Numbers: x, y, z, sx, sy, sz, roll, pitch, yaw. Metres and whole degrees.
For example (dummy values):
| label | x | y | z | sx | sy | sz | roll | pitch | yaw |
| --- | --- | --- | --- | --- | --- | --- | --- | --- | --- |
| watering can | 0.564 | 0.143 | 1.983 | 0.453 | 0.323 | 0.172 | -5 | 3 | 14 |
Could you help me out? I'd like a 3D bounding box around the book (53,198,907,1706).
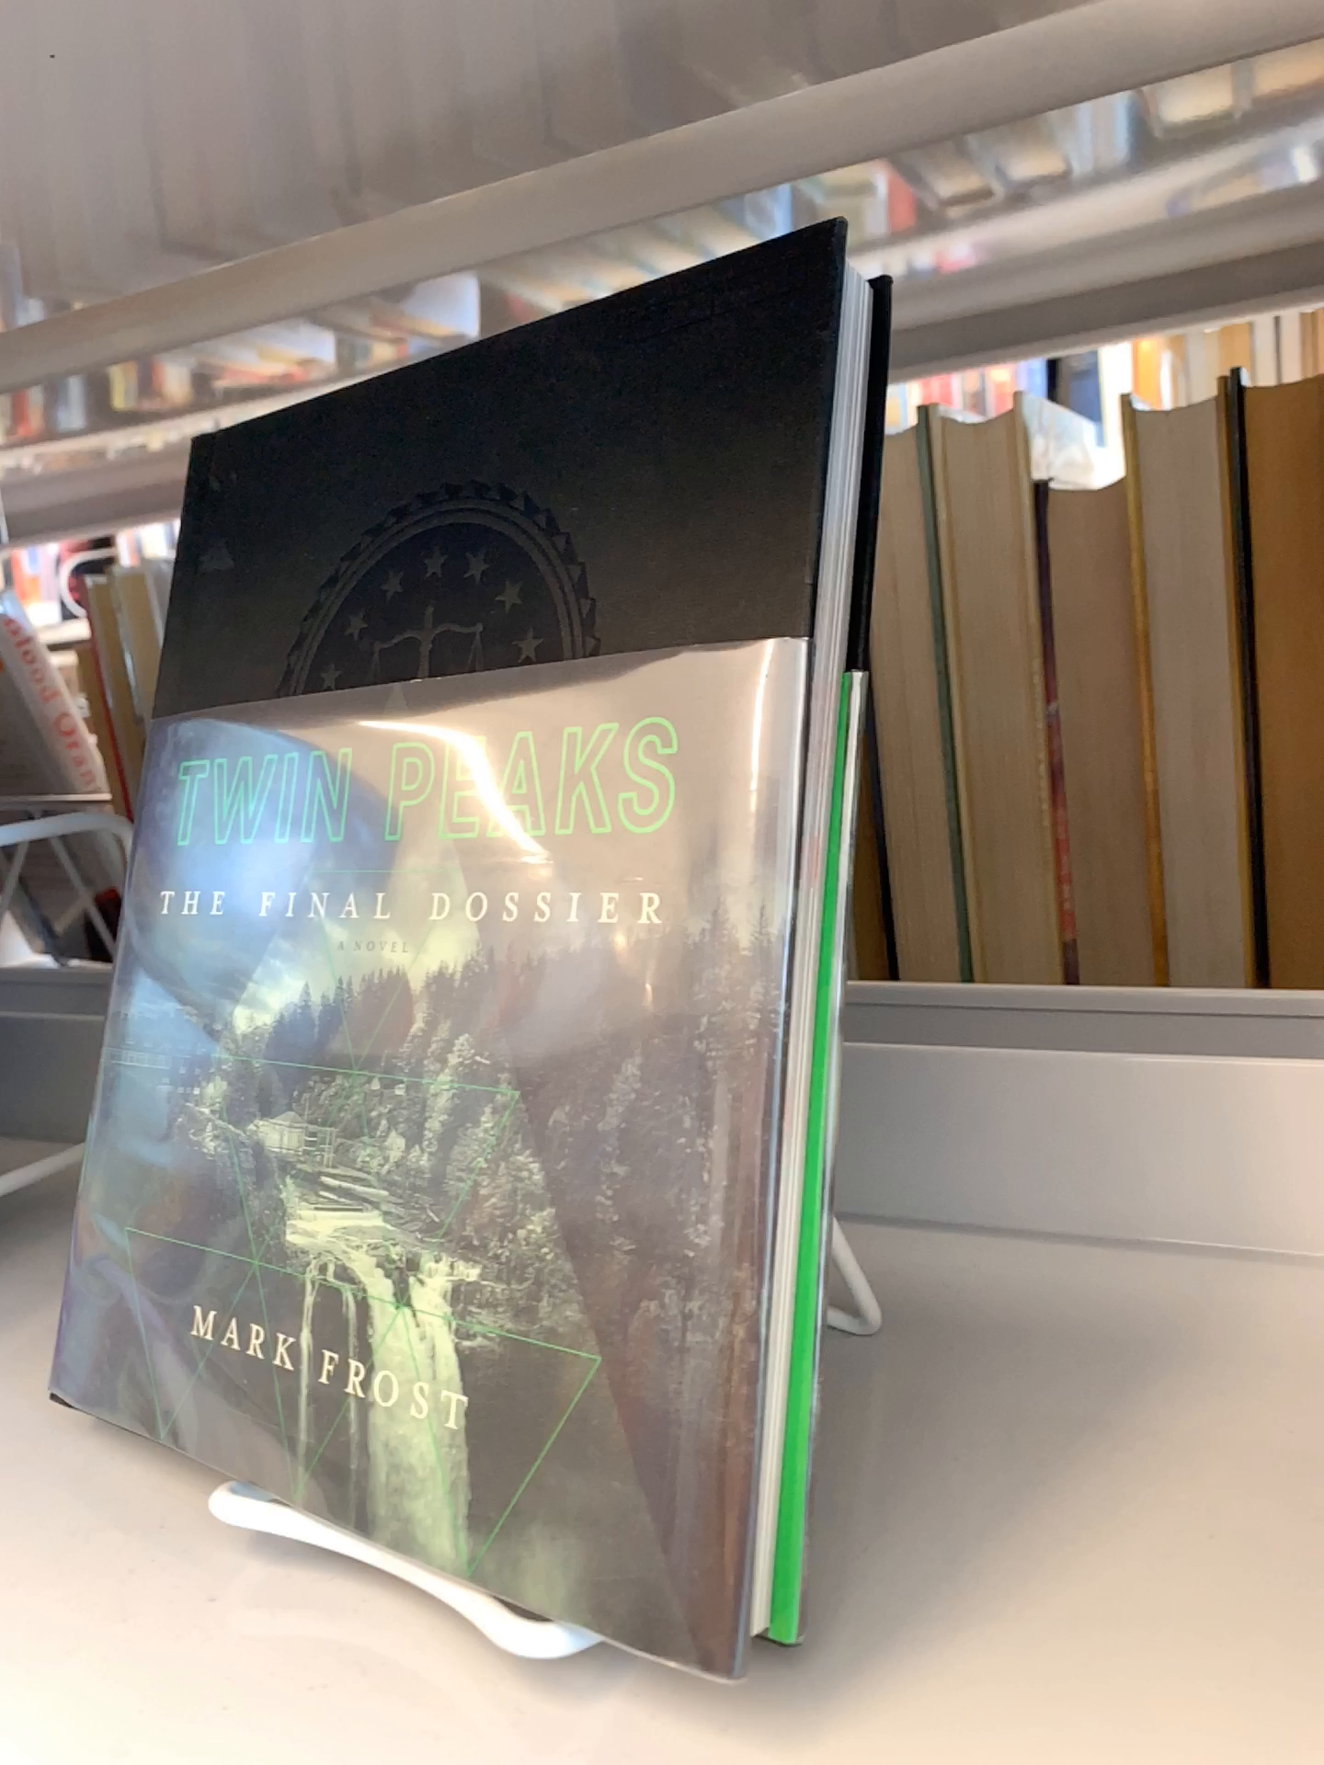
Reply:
| label | x | y | z | sx | sy | sz | roll | pitch | yaw |
| --- | --- | --- | --- | --- | --- | --- | --- | --- | --- |
| book | -0.048 | 0.004 | 0.273 | 0.190 | 0.228 | 0.020 | 0 | -8 | 38 |
